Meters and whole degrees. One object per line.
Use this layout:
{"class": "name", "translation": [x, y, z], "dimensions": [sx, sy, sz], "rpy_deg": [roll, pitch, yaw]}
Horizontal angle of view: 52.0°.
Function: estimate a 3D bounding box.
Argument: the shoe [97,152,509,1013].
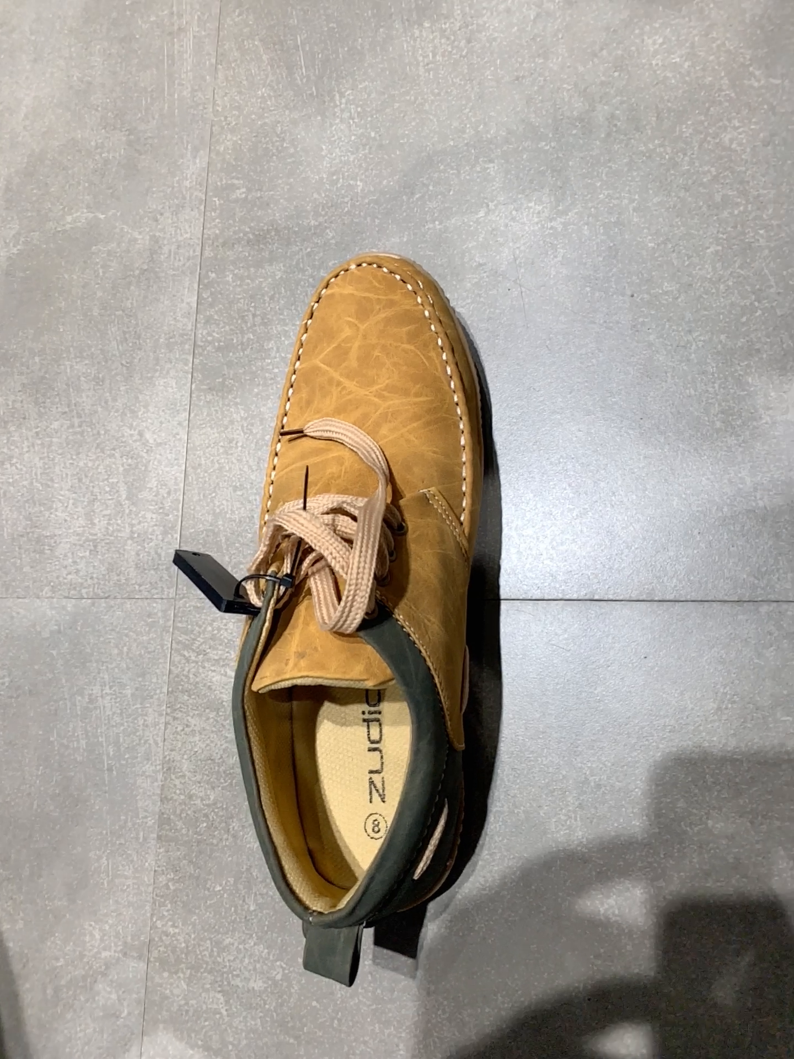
{"class": "shoe", "translation": [-0.024, 0.017, 0.321], "dimensions": [0.111, 0.117, 0.267], "rpy_deg": [-3, 78, 17]}
